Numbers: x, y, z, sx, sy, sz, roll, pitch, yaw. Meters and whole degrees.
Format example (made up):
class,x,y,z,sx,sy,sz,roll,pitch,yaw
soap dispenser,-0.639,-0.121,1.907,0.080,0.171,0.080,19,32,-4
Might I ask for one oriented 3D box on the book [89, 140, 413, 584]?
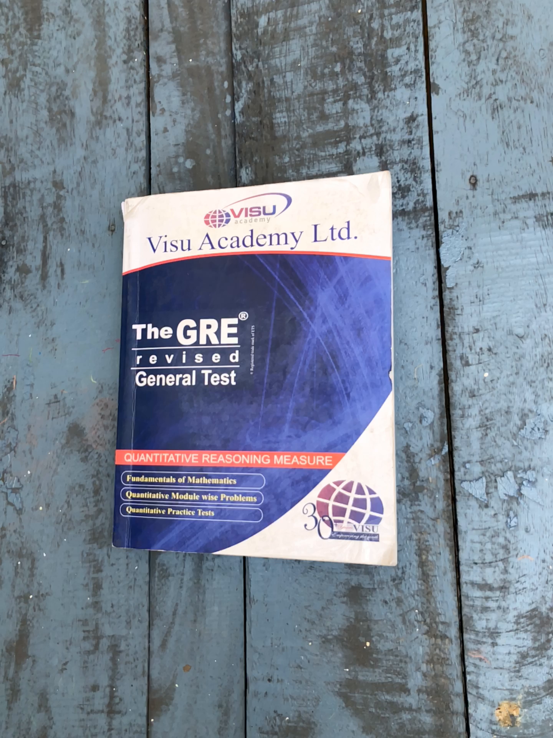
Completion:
class,x,y,z,sx,sy,sz,roll,pitch,yaw
book,-0.015,-0.006,0.455,0.220,0.060,0.290,-1,81,16
